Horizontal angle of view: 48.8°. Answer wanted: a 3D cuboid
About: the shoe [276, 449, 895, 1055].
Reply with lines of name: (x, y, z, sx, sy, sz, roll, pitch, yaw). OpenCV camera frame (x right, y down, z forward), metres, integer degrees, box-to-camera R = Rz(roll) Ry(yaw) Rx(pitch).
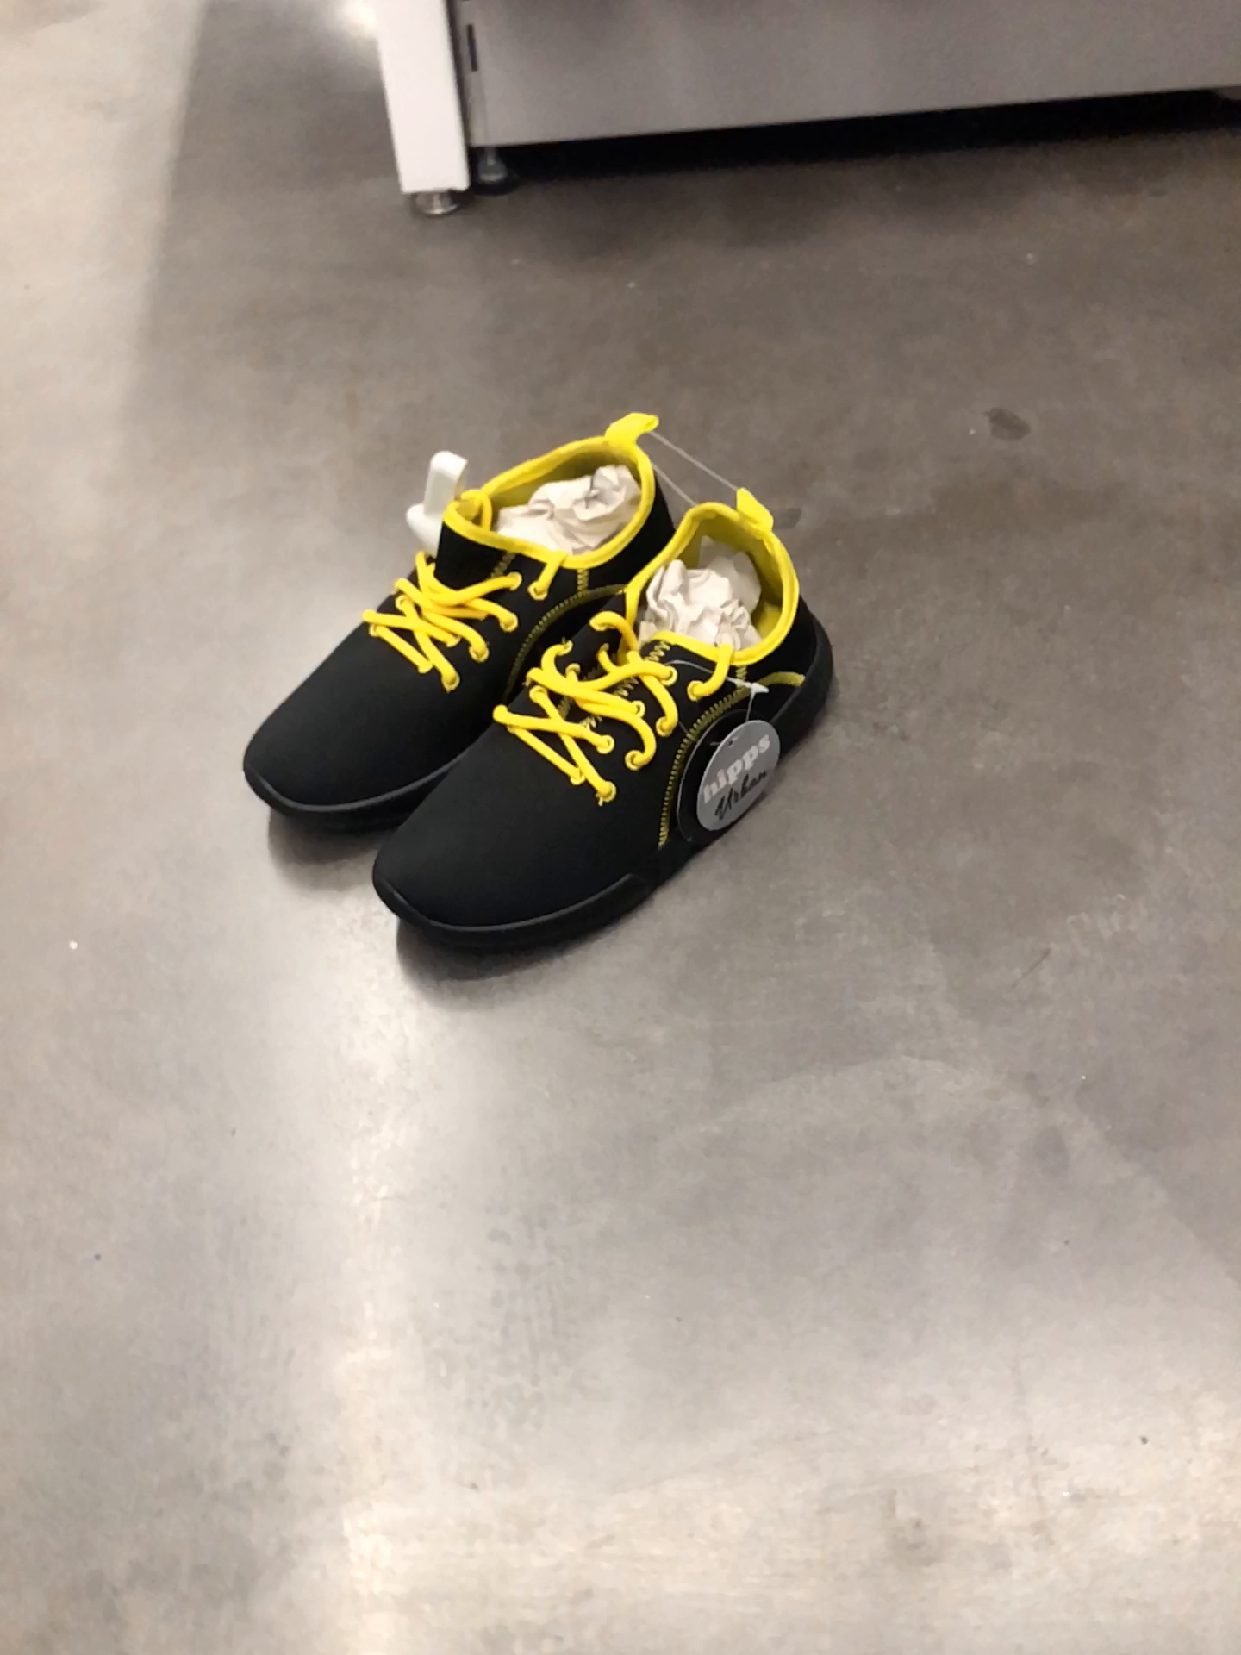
shoe: (-0.005, -0.036, 0.541, 0.090, 0.100, 0.231, 37, 62, 26)

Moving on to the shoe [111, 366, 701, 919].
shoe: (-0.078, -0.085, 0.583, 0.090, 0.100, 0.231, 37, 62, 26)
